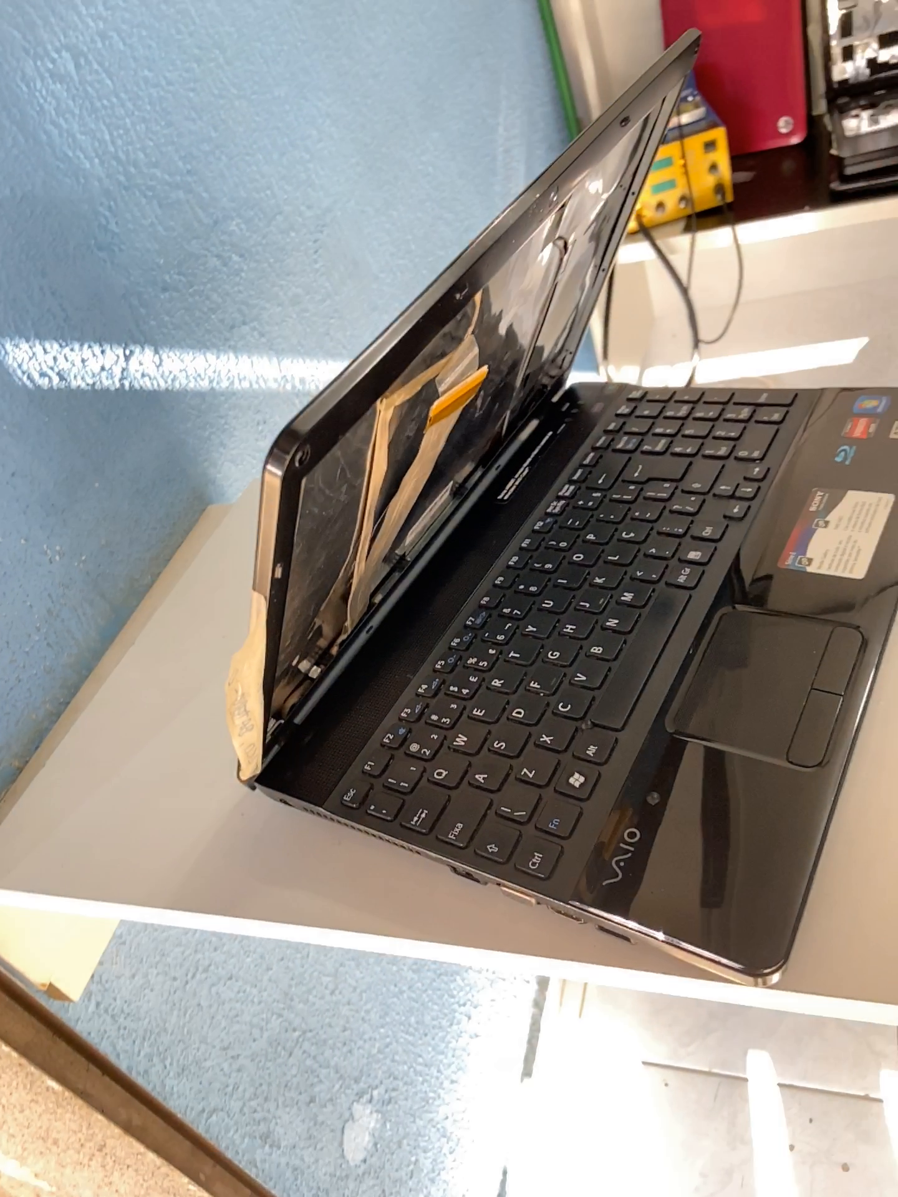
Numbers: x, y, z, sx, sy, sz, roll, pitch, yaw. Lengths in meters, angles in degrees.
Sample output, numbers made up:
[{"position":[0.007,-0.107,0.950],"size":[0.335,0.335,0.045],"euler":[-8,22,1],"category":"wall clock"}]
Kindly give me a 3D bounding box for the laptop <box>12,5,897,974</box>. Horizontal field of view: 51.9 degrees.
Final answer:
[{"position":[0.064,-0.086,0.422],"size":[0.242,0.193,0.365],"euler":[9,47,34],"category":"laptop"}]
